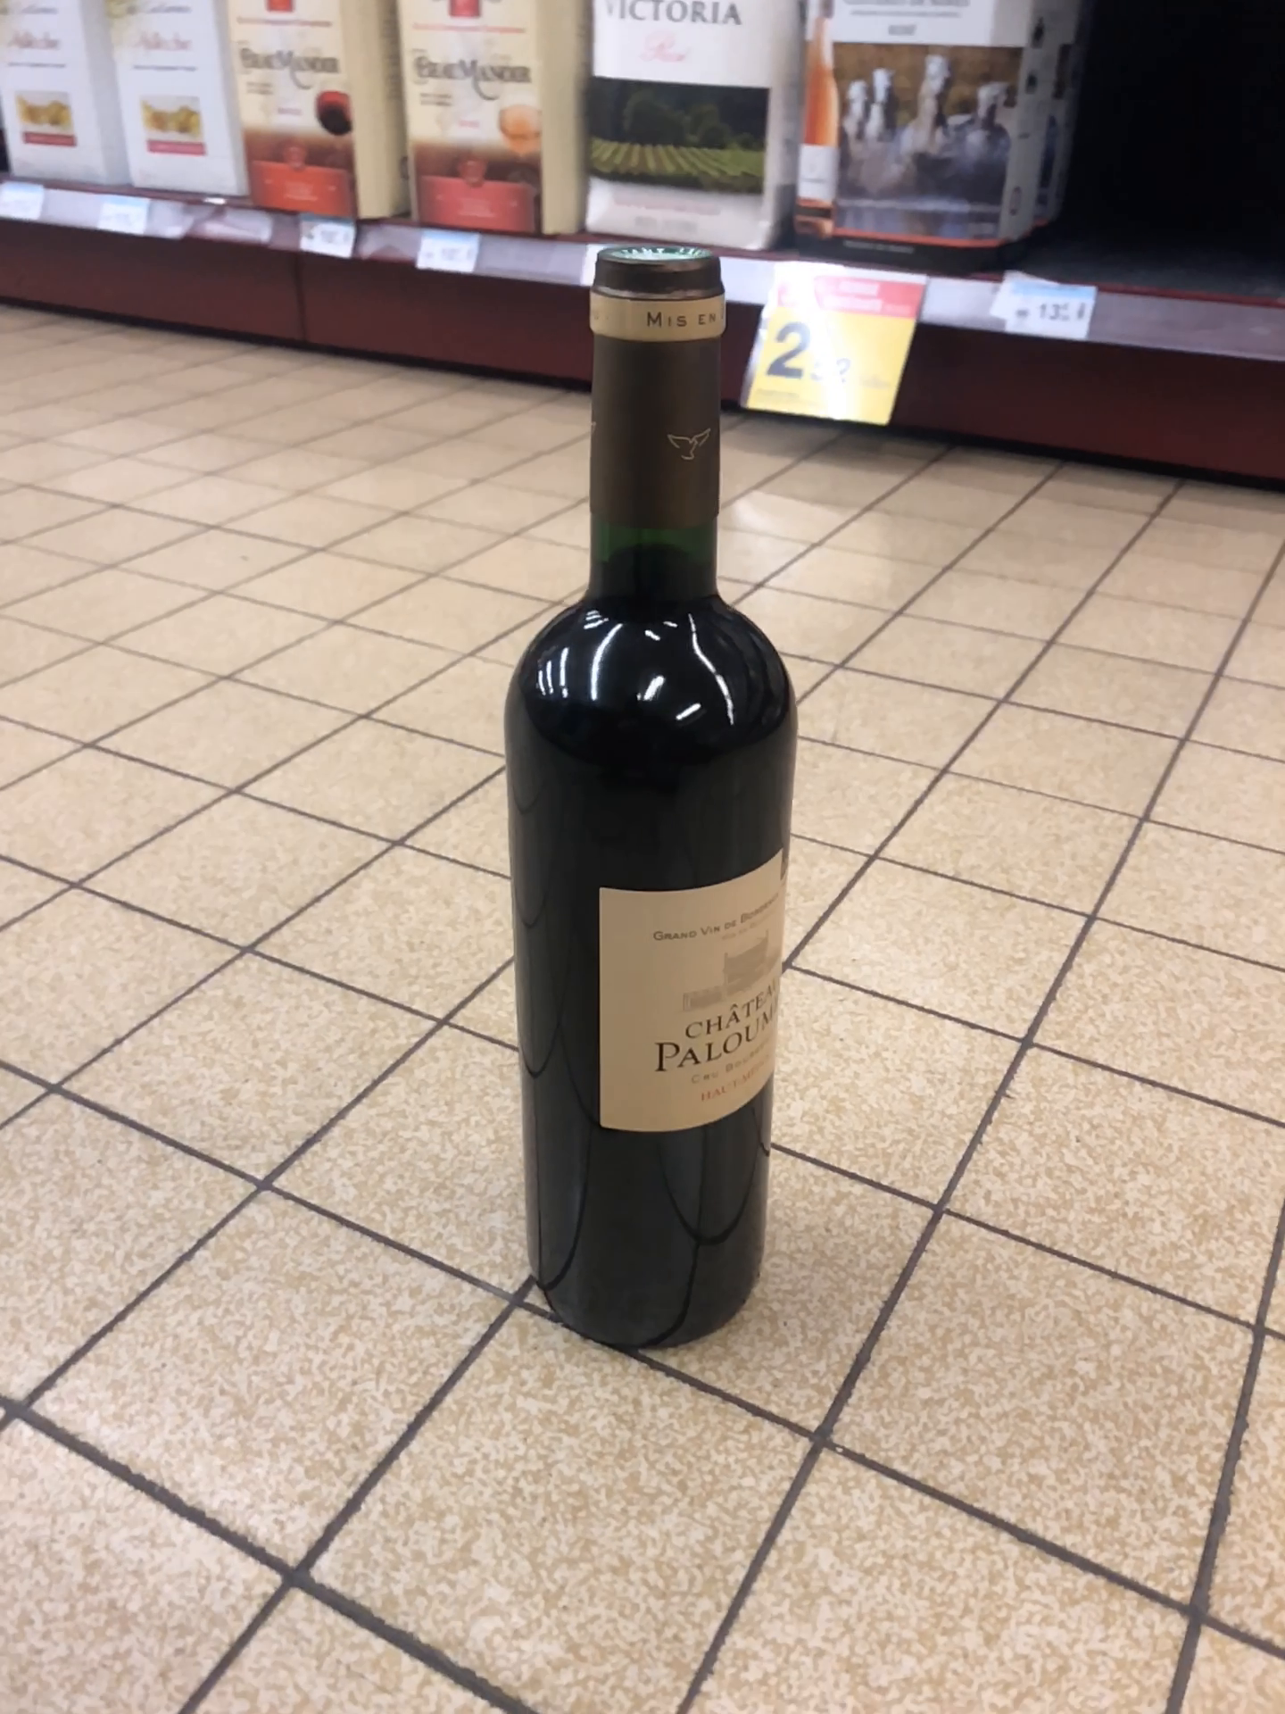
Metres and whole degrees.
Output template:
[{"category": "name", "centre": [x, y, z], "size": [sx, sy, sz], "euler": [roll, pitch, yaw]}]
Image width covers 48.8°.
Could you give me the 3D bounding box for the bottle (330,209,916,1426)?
[{"category": "bottle", "centre": [-0.006, -0.001, 0.363], "size": [0.090, 0.288, 0.080], "euler": [25, 38, 35]}]
